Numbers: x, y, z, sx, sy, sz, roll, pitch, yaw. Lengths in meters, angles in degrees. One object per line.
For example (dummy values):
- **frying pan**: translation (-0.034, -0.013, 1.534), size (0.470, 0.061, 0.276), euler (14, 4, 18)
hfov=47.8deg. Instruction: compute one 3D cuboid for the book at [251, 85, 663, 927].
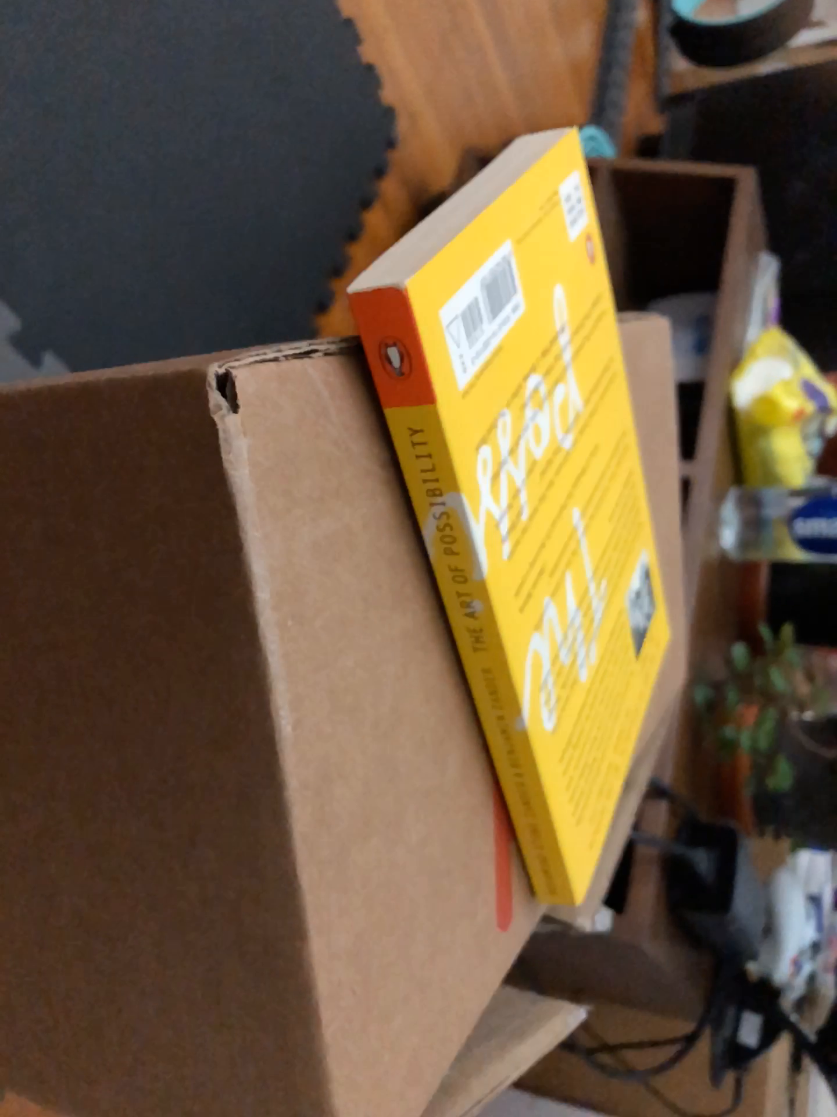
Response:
- **book**: translation (0.034, -0.017, 0.294), size (0.151, 0.020, 0.210), euler (-56, 136, -46)
